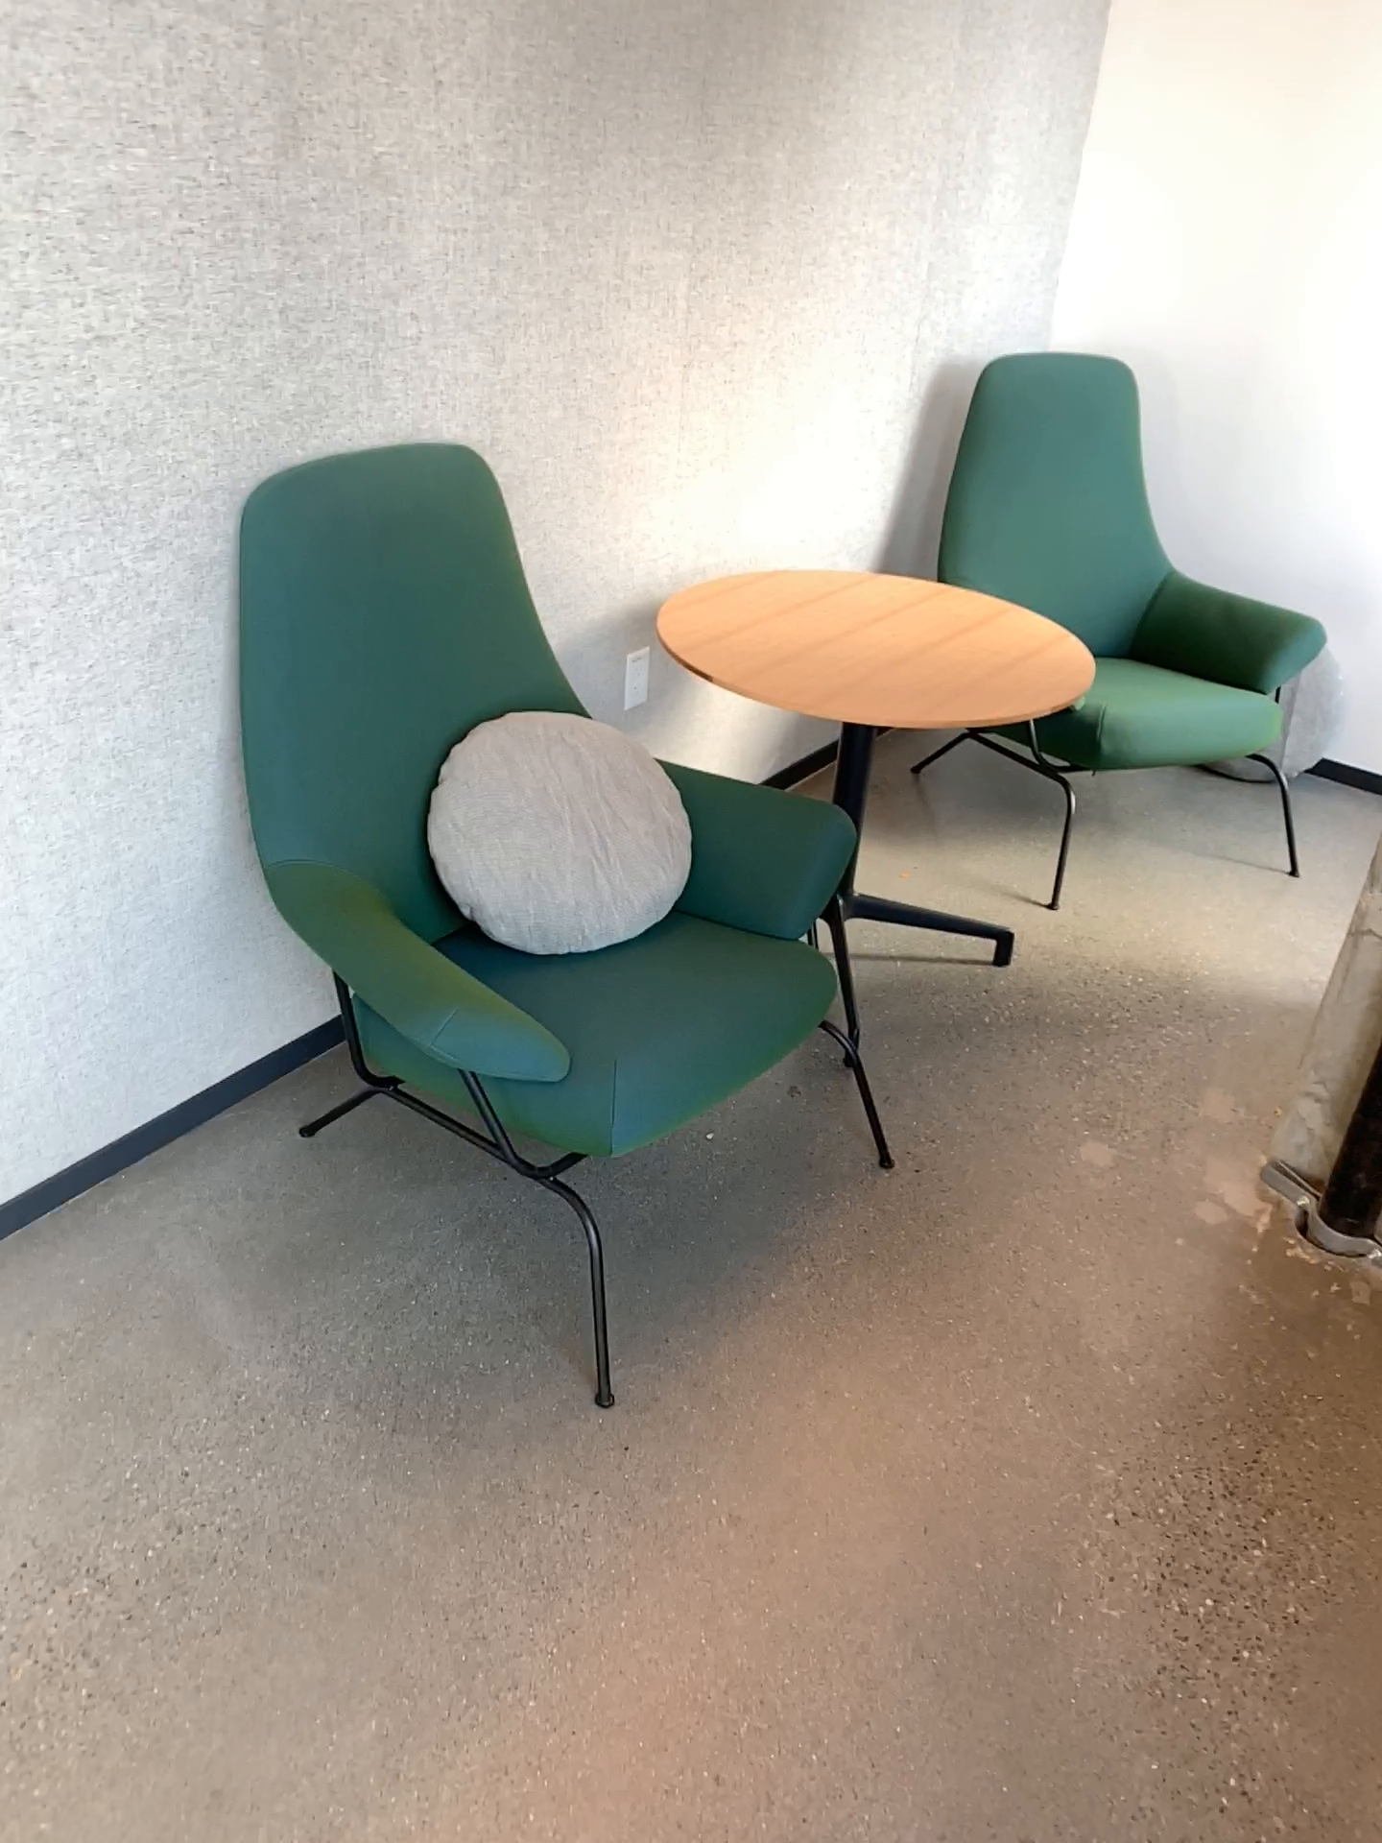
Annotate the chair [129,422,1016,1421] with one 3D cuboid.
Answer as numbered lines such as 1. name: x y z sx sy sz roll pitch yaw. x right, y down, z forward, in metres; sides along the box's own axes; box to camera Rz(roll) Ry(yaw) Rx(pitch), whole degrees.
1. chair: -0.170 -0.083 2.005 0.843 0.994 0.722 25 36 33

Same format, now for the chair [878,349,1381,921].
1. chair: 0.943 -0.664 3.128 0.650 1.014 0.755 -7 31 -20
